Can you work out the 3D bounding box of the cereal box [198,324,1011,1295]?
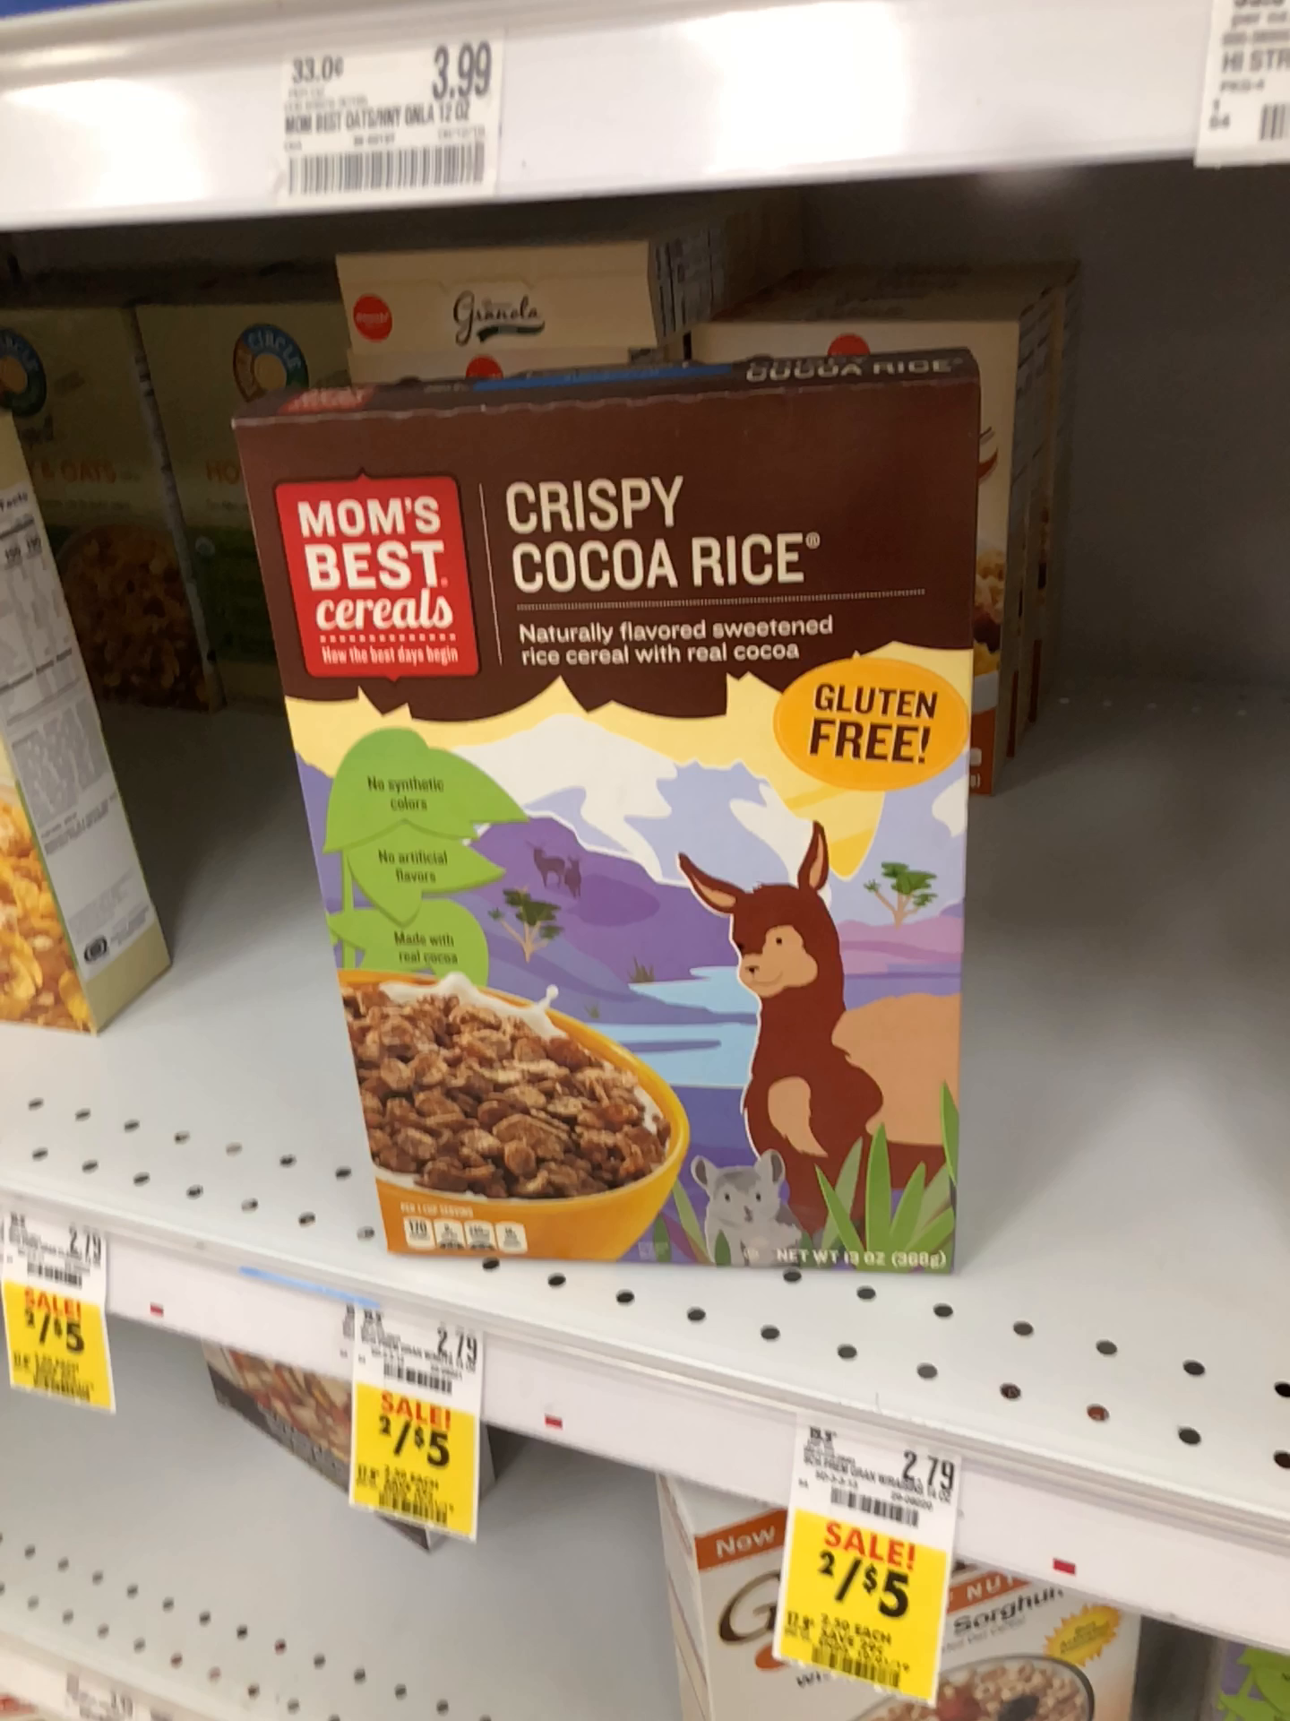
[{"bbox_3d":[0.002,-0.006,0.439,0.200,0.279,0.080,0,25,9],"label":"cereal box"}]
